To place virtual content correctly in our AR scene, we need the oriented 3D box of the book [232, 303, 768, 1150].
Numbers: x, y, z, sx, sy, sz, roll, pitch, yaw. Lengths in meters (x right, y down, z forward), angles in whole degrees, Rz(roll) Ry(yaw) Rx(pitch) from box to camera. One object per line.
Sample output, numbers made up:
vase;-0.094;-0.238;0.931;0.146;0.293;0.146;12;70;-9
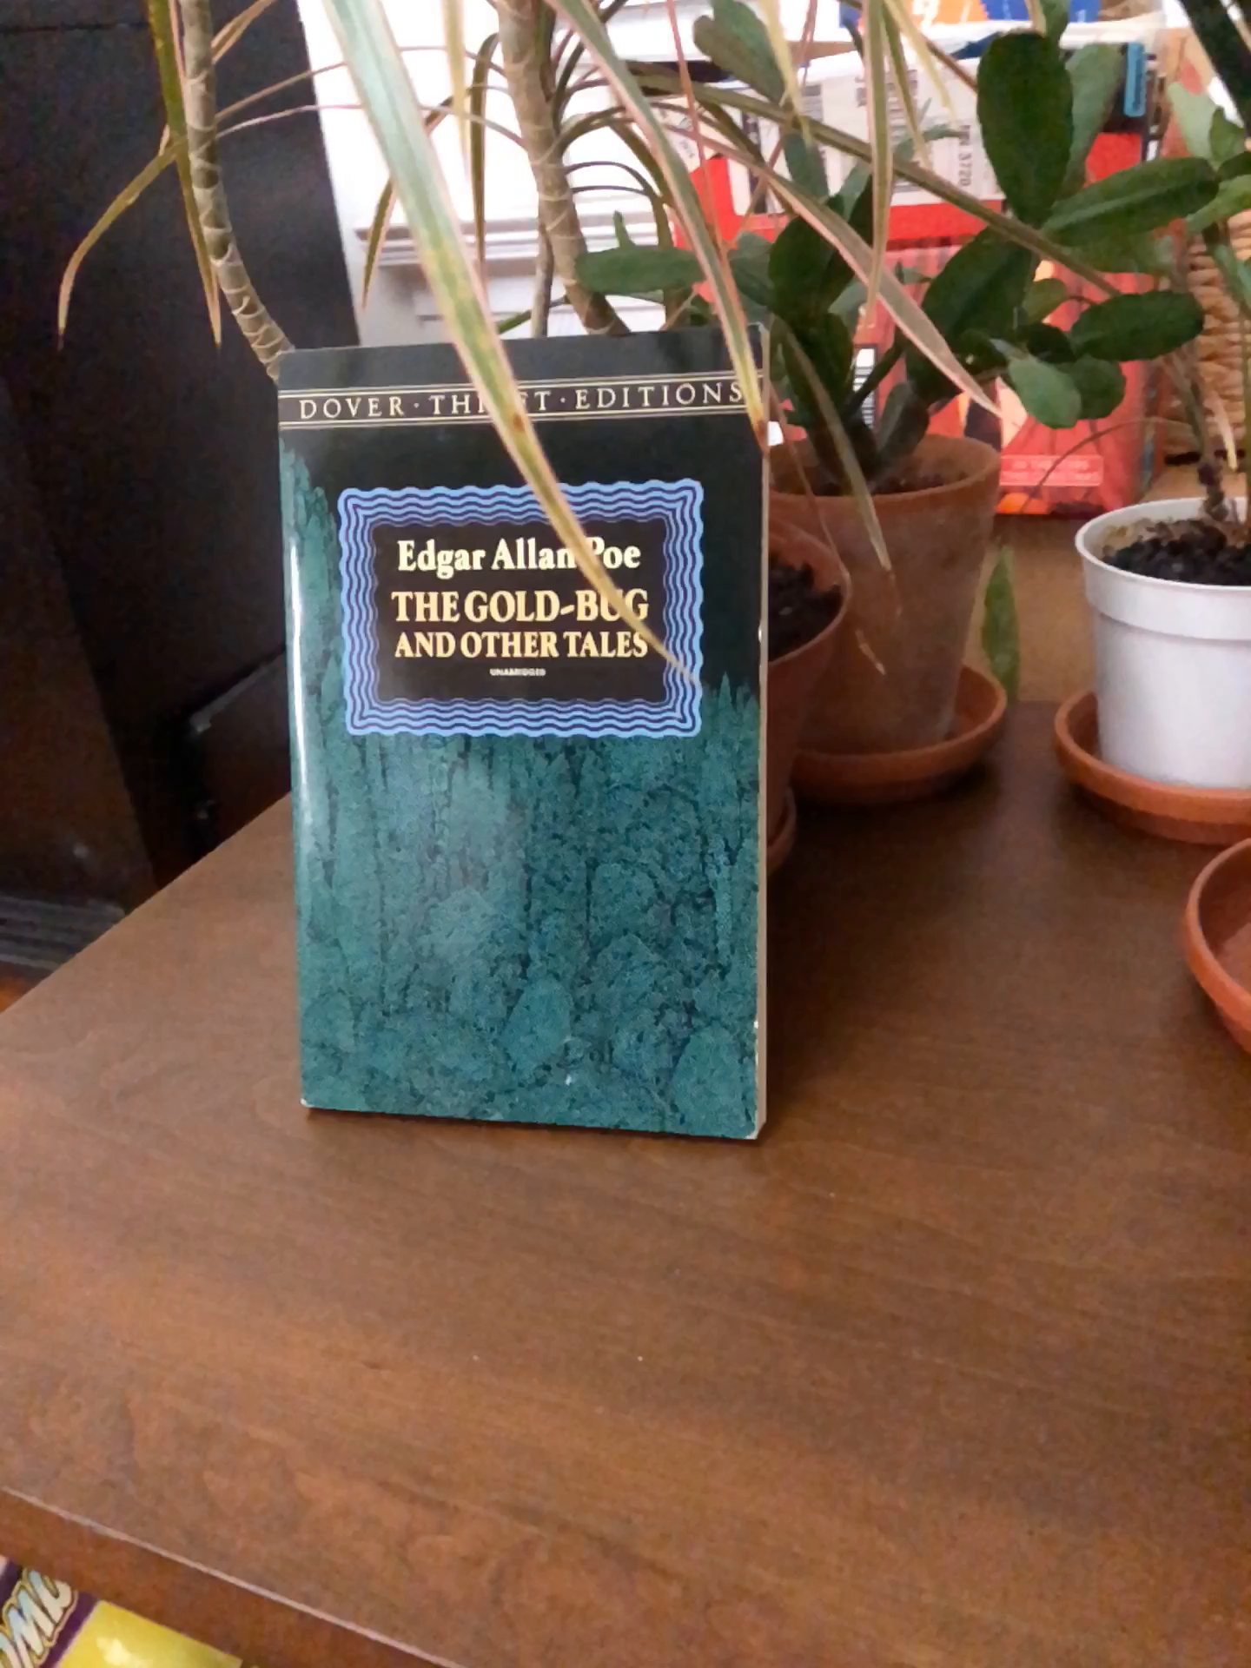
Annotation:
book;-0.034;-0.027;0.368;0.140;0.210;0.020;1;5;13
